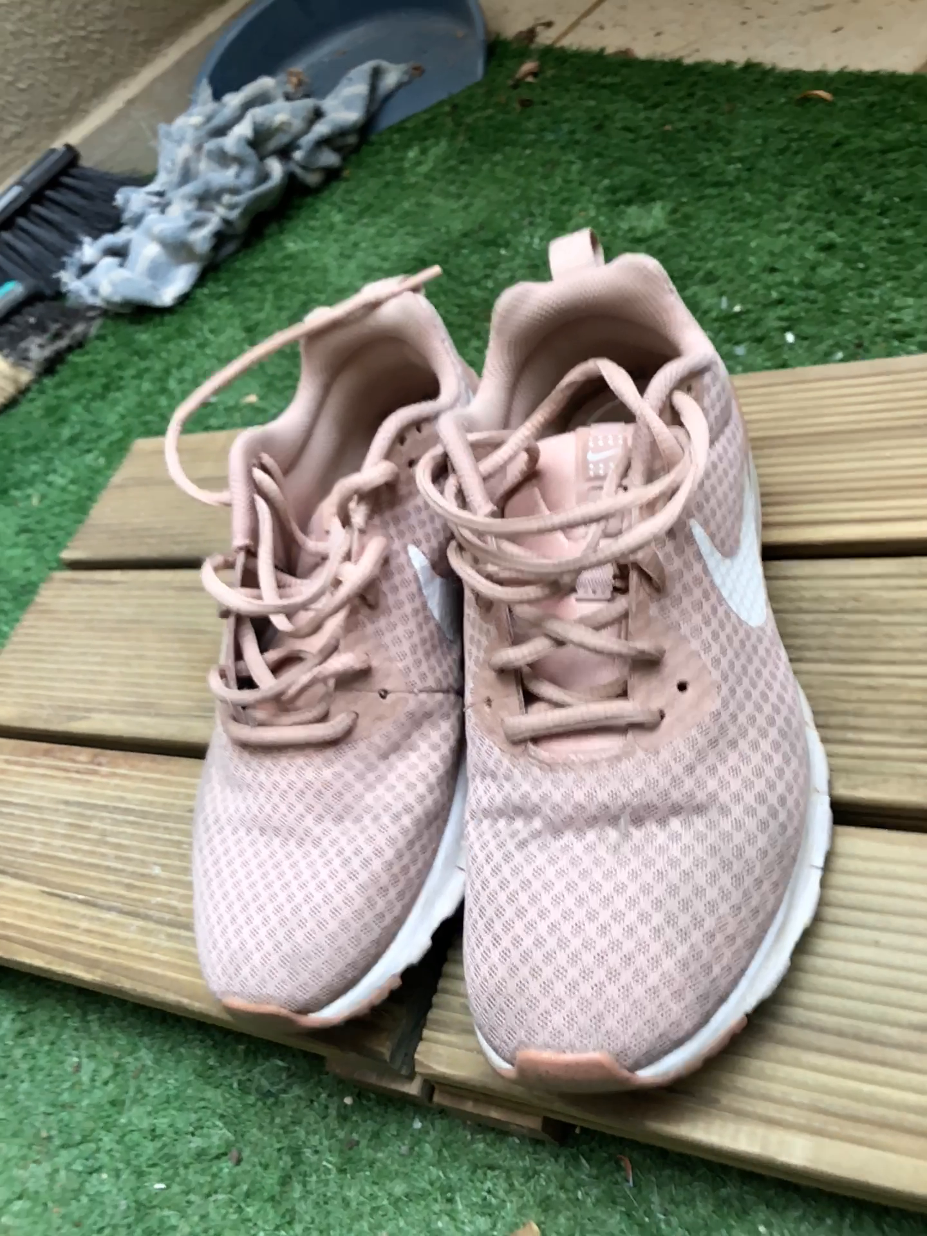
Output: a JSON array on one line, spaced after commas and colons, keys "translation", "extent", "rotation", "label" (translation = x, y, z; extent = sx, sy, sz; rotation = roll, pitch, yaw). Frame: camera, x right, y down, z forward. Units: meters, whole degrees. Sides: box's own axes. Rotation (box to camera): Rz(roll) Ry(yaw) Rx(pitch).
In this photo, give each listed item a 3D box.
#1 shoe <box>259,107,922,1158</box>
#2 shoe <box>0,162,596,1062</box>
[{"translation": [0.049, -0.011, 0.283], "extent": [0.110, 0.089, 0.261], "rotation": [-8, 51, 26], "label": "shoe"}, {"translation": [-0.040, -0.014, 0.326], "extent": [0.110, 0.089, 0.261], "rotation": [-6, 52, 27], "label": "shoe"}]
